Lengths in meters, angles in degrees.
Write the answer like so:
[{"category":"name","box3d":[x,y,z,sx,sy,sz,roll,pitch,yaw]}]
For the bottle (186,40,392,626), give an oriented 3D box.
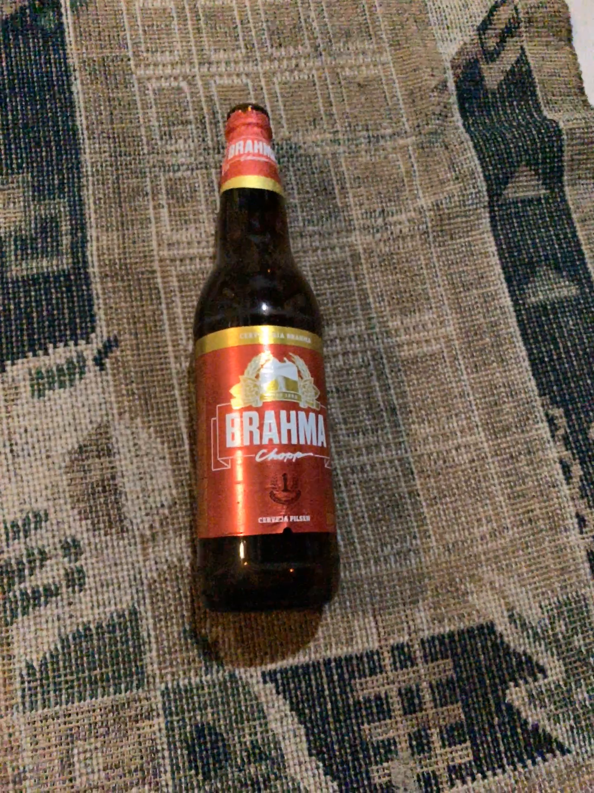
[{"category":"bottle","box3d":[-0.013,-0.038,0.314,0.080,0.060,0.280,0,75,-12]}]
